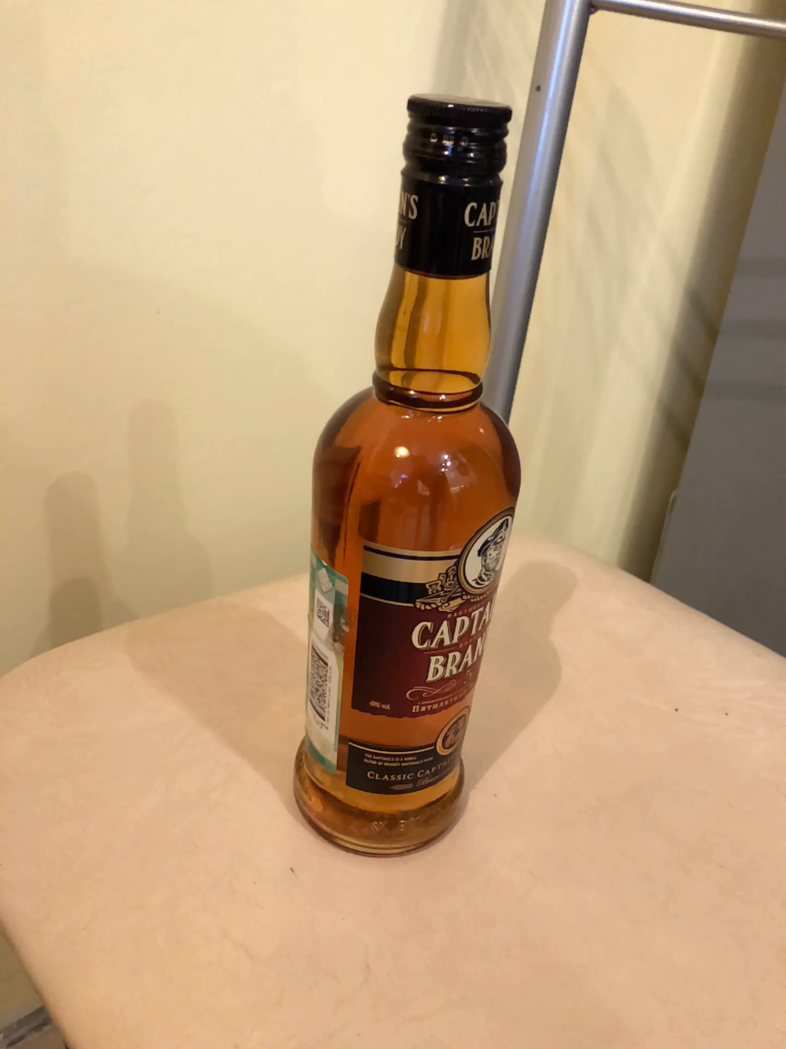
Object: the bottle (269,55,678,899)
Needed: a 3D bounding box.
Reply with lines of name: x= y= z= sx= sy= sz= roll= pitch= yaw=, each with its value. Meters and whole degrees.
bottle: x=0.013 y=-0.005 z=0.286 sx=0.070 sy=0.258 sz=0.080 roll=27 pitch=38 yaw=32
